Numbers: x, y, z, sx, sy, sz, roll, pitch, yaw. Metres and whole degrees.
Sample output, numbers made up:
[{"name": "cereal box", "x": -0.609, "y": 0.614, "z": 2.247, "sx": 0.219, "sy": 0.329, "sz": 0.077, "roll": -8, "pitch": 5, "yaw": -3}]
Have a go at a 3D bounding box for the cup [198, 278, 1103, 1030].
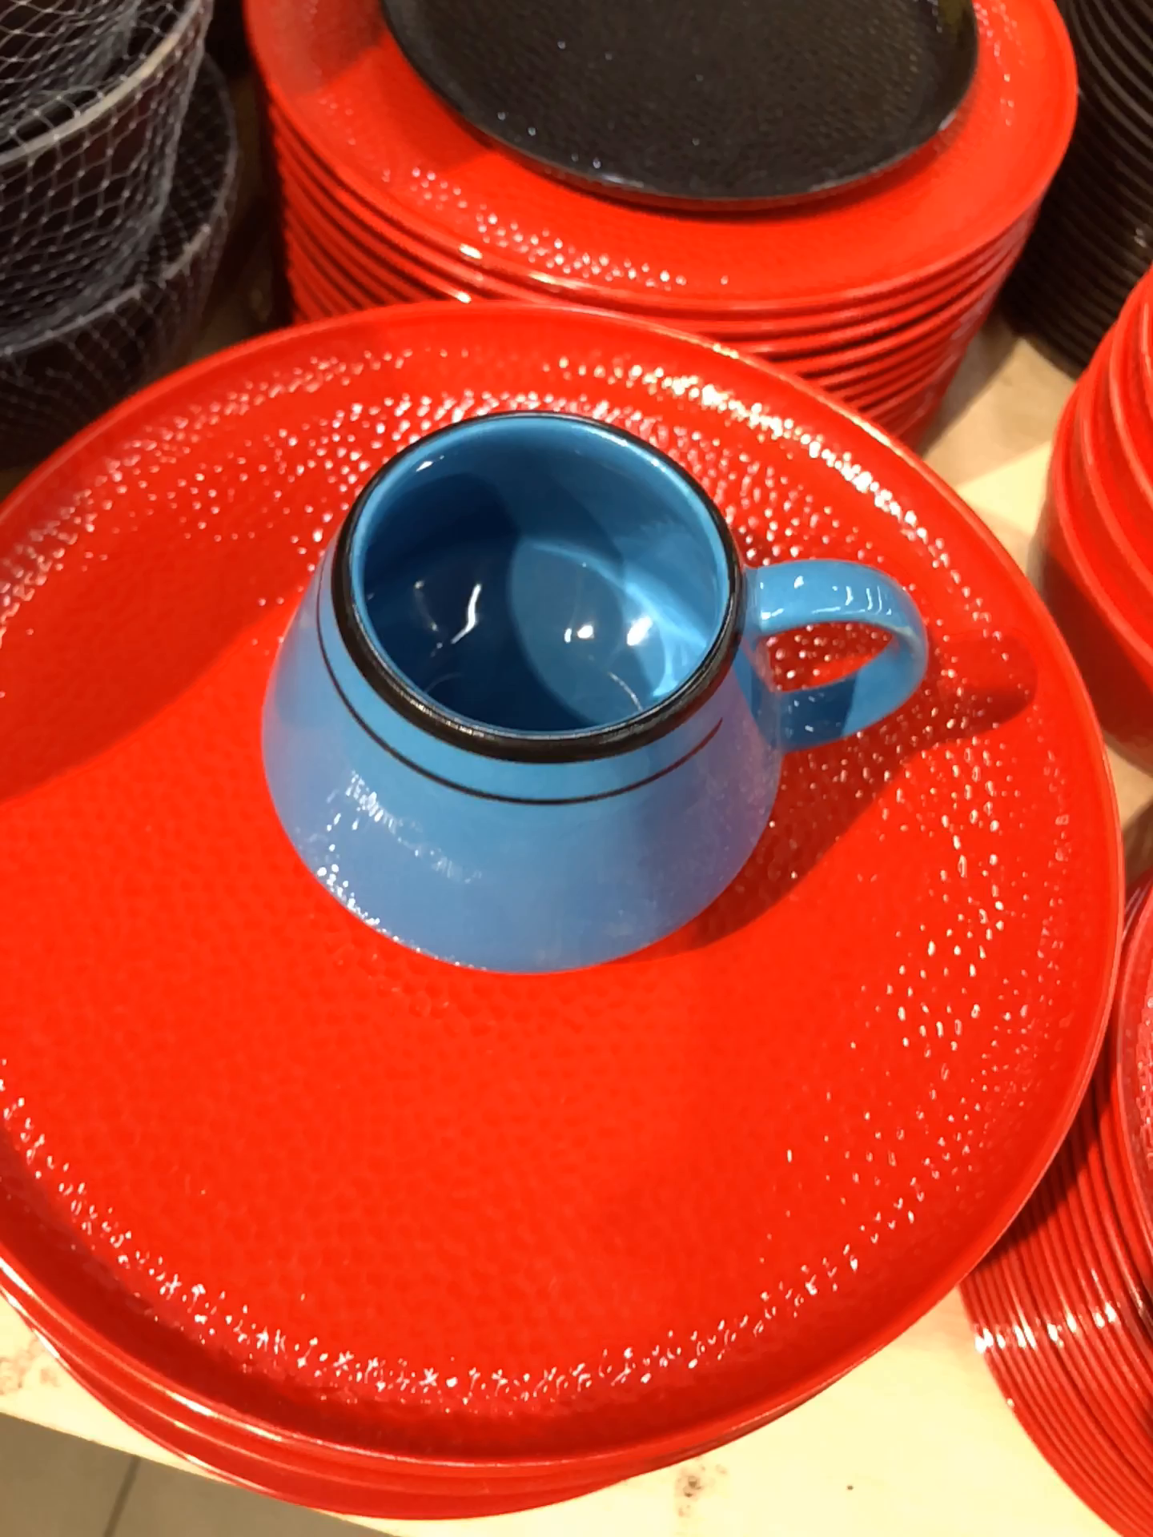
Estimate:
[{"name": "cup", "x": 0.004, "y": -0.022, "z": 0.262, "sx": 0.140, "sy": 0.090, "sz": 0.110, "roll": -5, "pitch": 63, "yaw": -8}]
